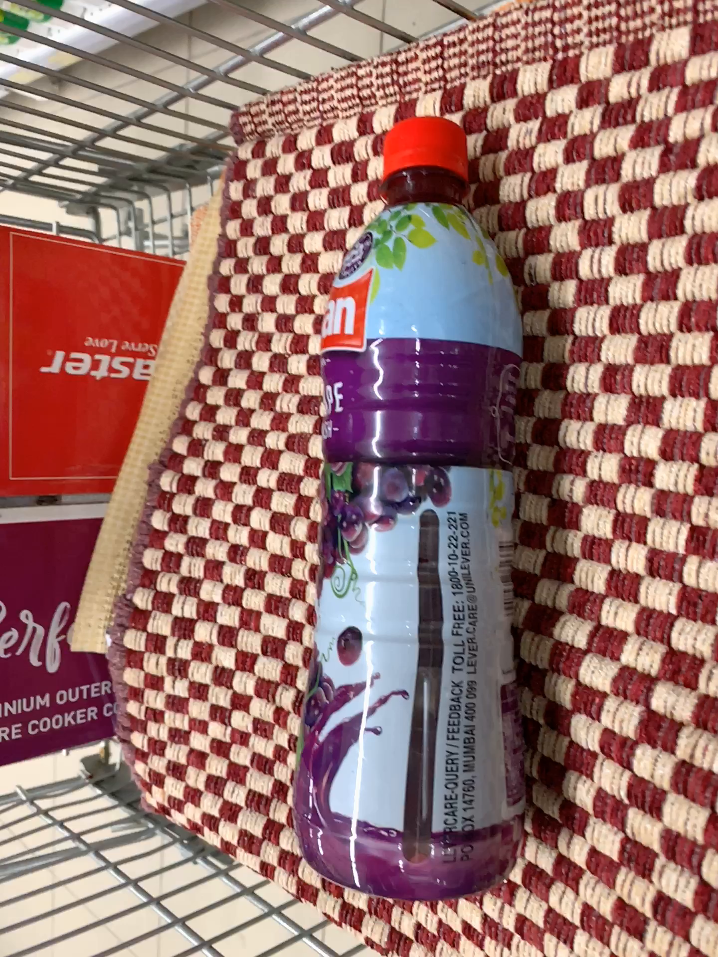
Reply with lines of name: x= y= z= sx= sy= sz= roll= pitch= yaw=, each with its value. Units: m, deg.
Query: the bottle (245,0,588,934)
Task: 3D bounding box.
bottle: x=0.015 y=-0.004 z=0.232 sx=0.080 sy=0.080 sz=0.240 roll=134 pitch=139 yaw=-86
